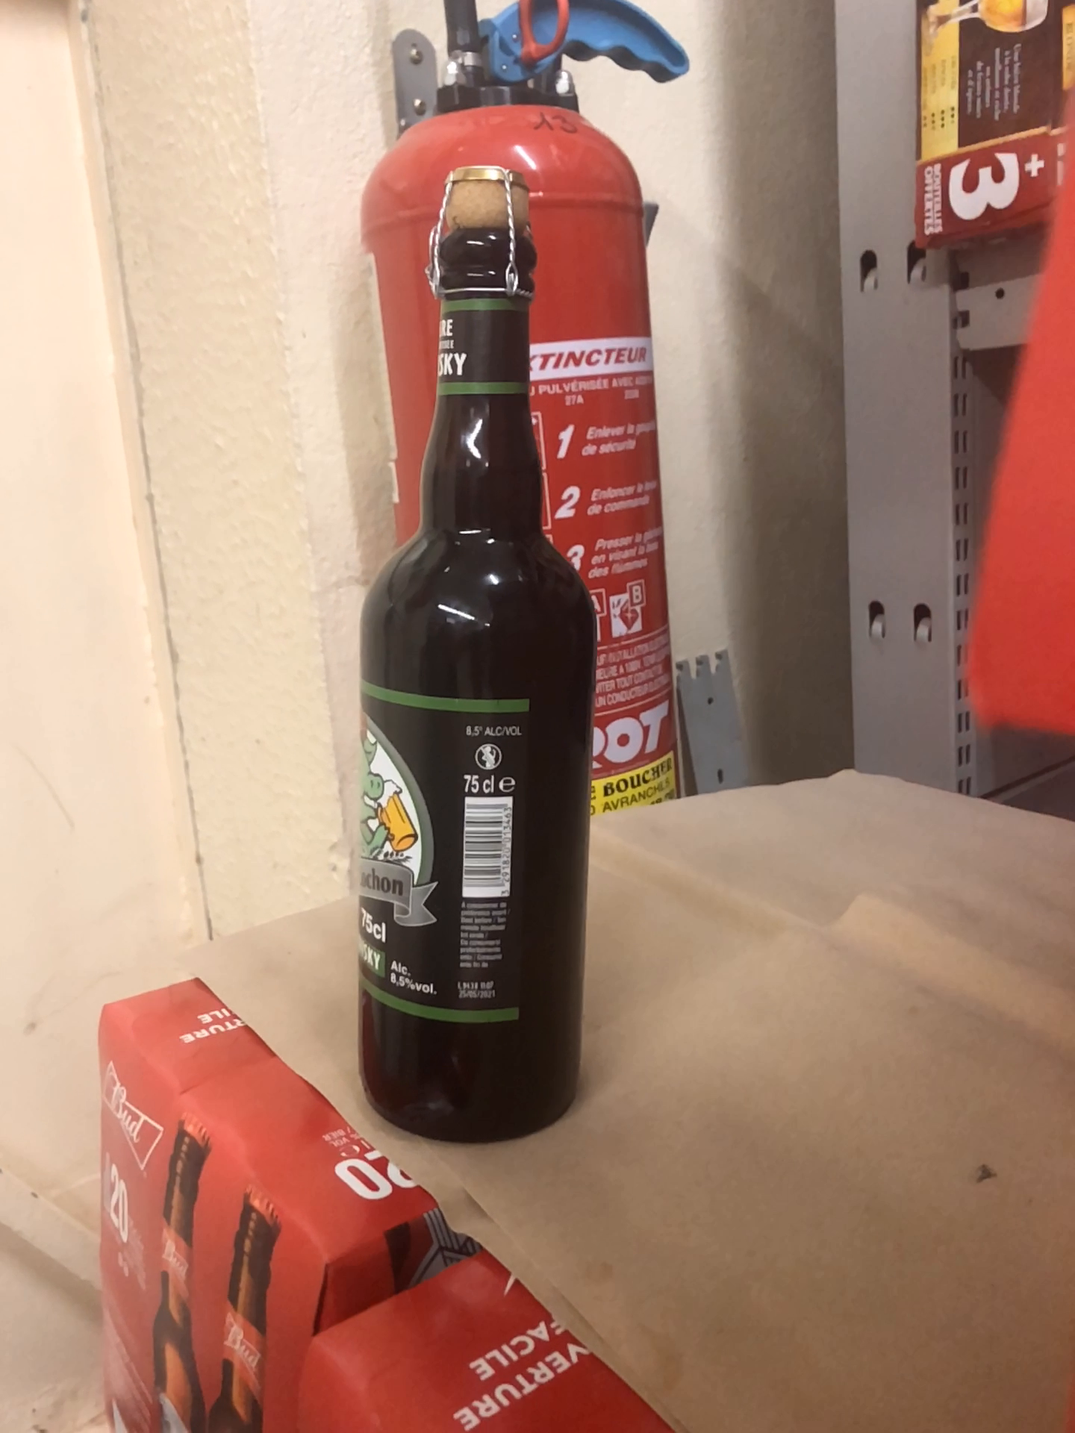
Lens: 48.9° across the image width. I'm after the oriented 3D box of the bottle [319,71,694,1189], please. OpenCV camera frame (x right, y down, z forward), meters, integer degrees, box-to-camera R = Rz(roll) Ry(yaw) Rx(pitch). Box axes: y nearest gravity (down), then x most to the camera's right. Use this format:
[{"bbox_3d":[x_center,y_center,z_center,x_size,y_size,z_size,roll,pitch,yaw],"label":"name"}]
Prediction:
[{"bbox_3d":[-0.017,-0.021,0.373,0.080,0.299,0.090,-2,10,-24],"label":"bottle"}]
